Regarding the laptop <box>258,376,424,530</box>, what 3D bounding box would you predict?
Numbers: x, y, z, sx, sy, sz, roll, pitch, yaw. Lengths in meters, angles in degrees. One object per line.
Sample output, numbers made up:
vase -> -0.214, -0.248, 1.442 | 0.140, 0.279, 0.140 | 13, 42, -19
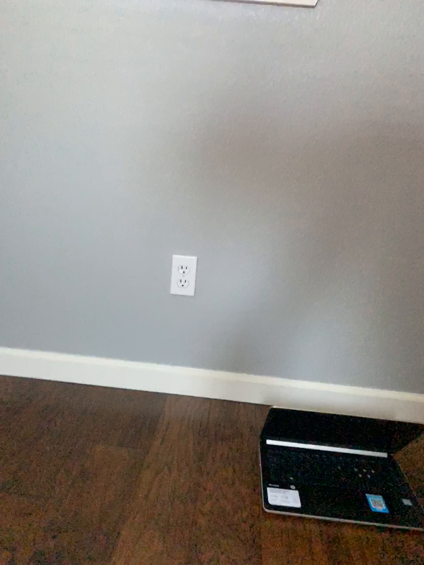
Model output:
laptop -> 0.271, 0.342, 0.911 | 0.317, 0.169, 0.220 | 5, 14, 1
